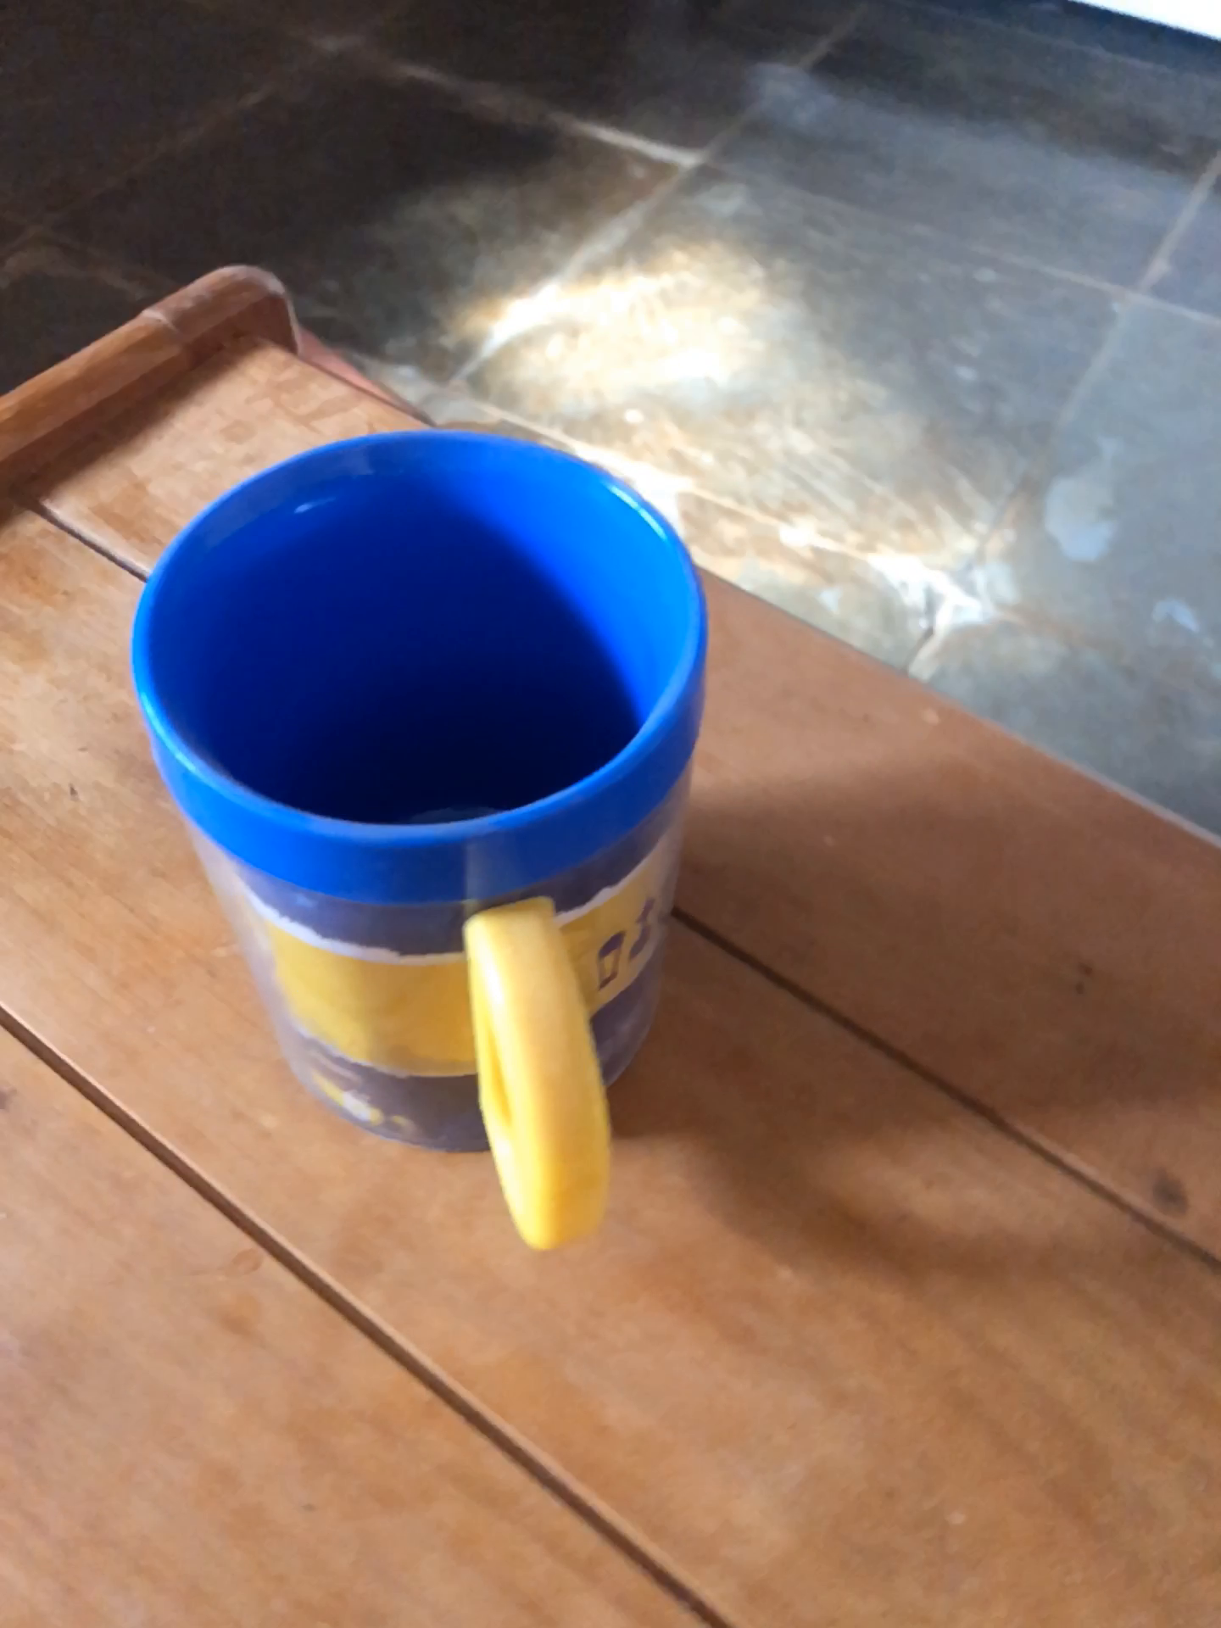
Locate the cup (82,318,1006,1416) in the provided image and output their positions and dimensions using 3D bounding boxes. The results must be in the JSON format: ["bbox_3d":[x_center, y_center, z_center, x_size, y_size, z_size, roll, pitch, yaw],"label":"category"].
[{"bbox_3d":[-0.018,0.009,0.222,0.090,0.109,0.121,-15,55,-12],"label":"cup"}]
